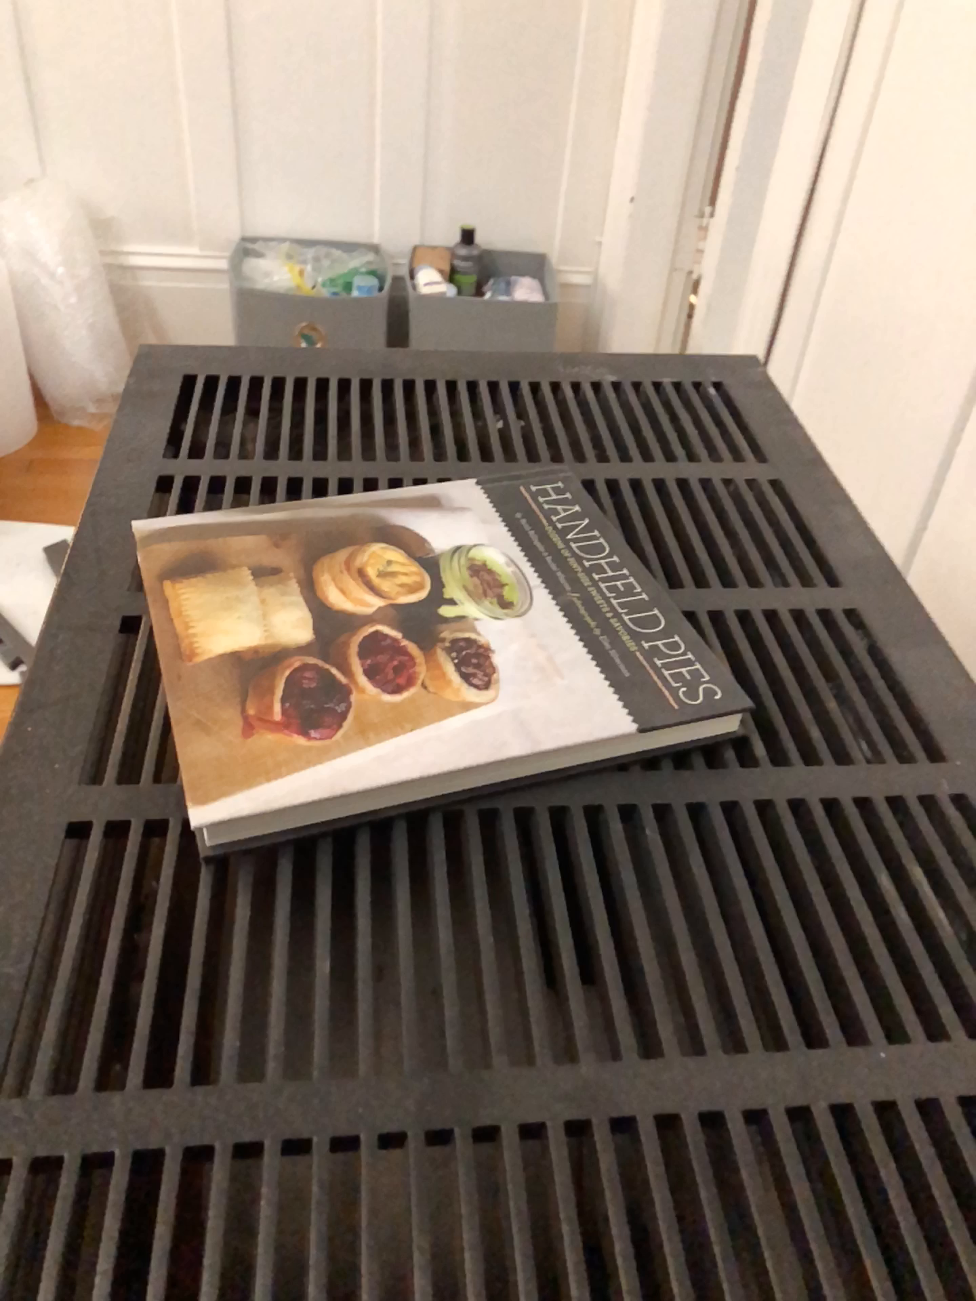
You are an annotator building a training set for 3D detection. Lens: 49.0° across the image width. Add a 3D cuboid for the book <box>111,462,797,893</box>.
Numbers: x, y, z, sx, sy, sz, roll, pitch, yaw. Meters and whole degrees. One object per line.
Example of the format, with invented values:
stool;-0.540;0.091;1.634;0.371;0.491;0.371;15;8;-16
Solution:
book;-0.026;-0.009;0.446;0.230;0.020;0.201;-10;41;-18
